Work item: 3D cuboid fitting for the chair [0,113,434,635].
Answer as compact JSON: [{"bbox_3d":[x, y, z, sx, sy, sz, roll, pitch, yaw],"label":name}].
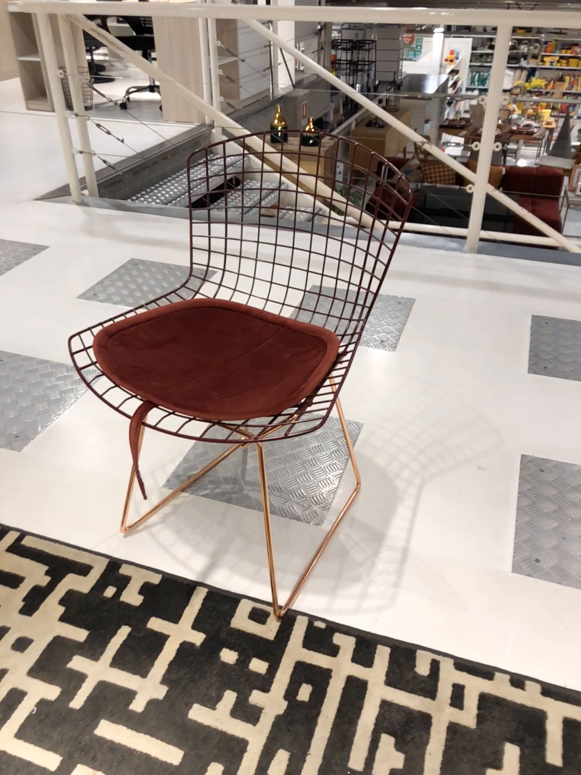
[{"bbox_3d":[-0.102,-0.062,1.251,0.511,0.764,0.503,20,38,28],"label":"chair"}]
